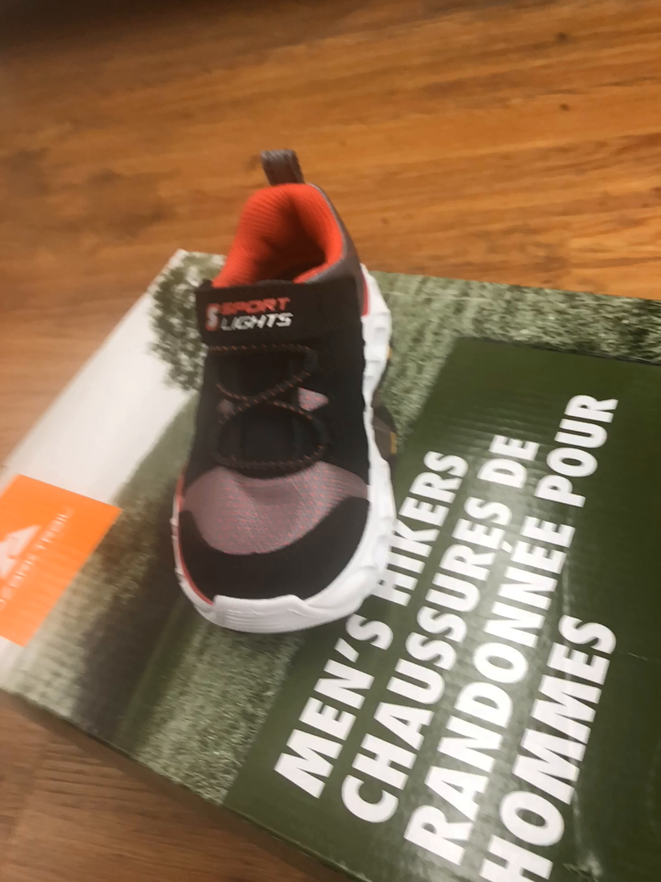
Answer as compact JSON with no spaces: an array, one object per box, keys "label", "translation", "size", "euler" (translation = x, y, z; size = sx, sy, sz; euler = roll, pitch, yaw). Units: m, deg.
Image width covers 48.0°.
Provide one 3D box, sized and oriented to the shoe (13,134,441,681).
[{"label":"shoe","translation":[-0.017,-0.017,0.267],"size":[0.090,0.090,0.170],"euler":[-3,50,17]}]
